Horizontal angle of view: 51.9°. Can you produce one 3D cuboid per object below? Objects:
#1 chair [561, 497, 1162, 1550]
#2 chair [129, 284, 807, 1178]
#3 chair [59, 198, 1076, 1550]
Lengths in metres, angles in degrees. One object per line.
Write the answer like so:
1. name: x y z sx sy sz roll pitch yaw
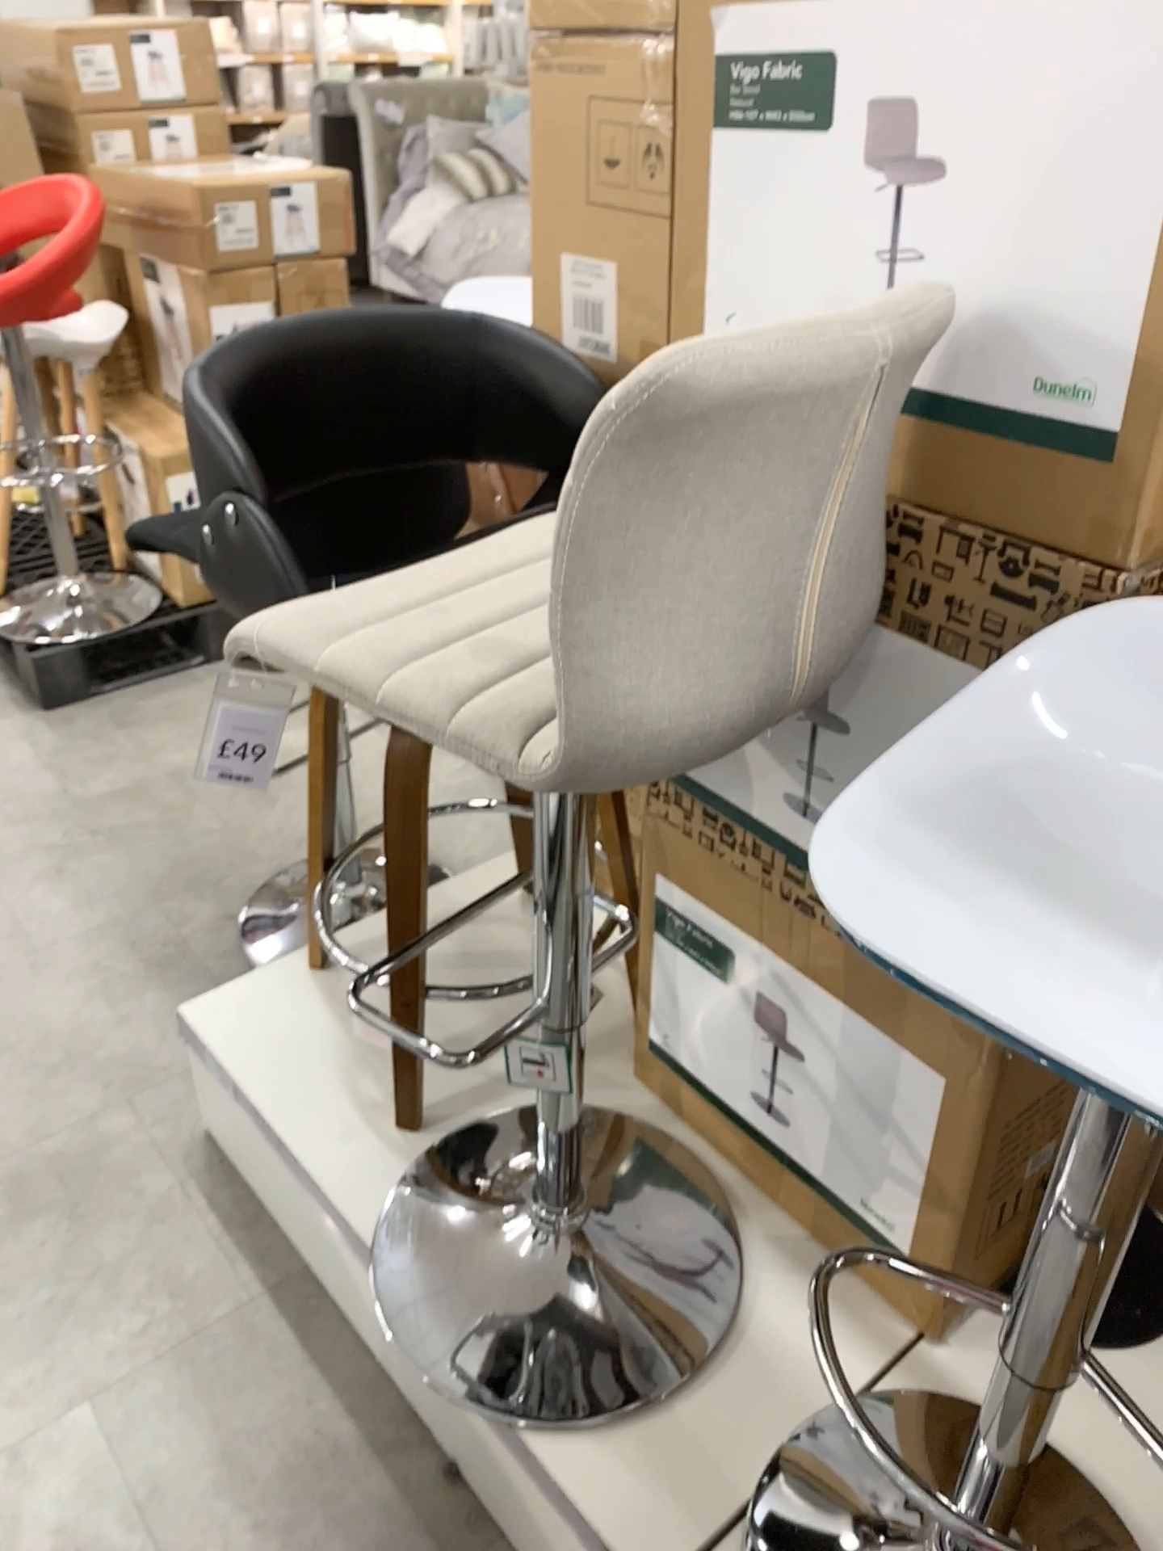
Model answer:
1. chair: 0.267 0.307 0.810 0.389 0.825 0.406 -26 40 -36
2. chair: -0.132 -0.086 1.487 0.536 0.865 0.491 -21 38 -32
3. chair: -0.024 0.072 1.061 0.466 0.984 0.511 -26 40 -36
